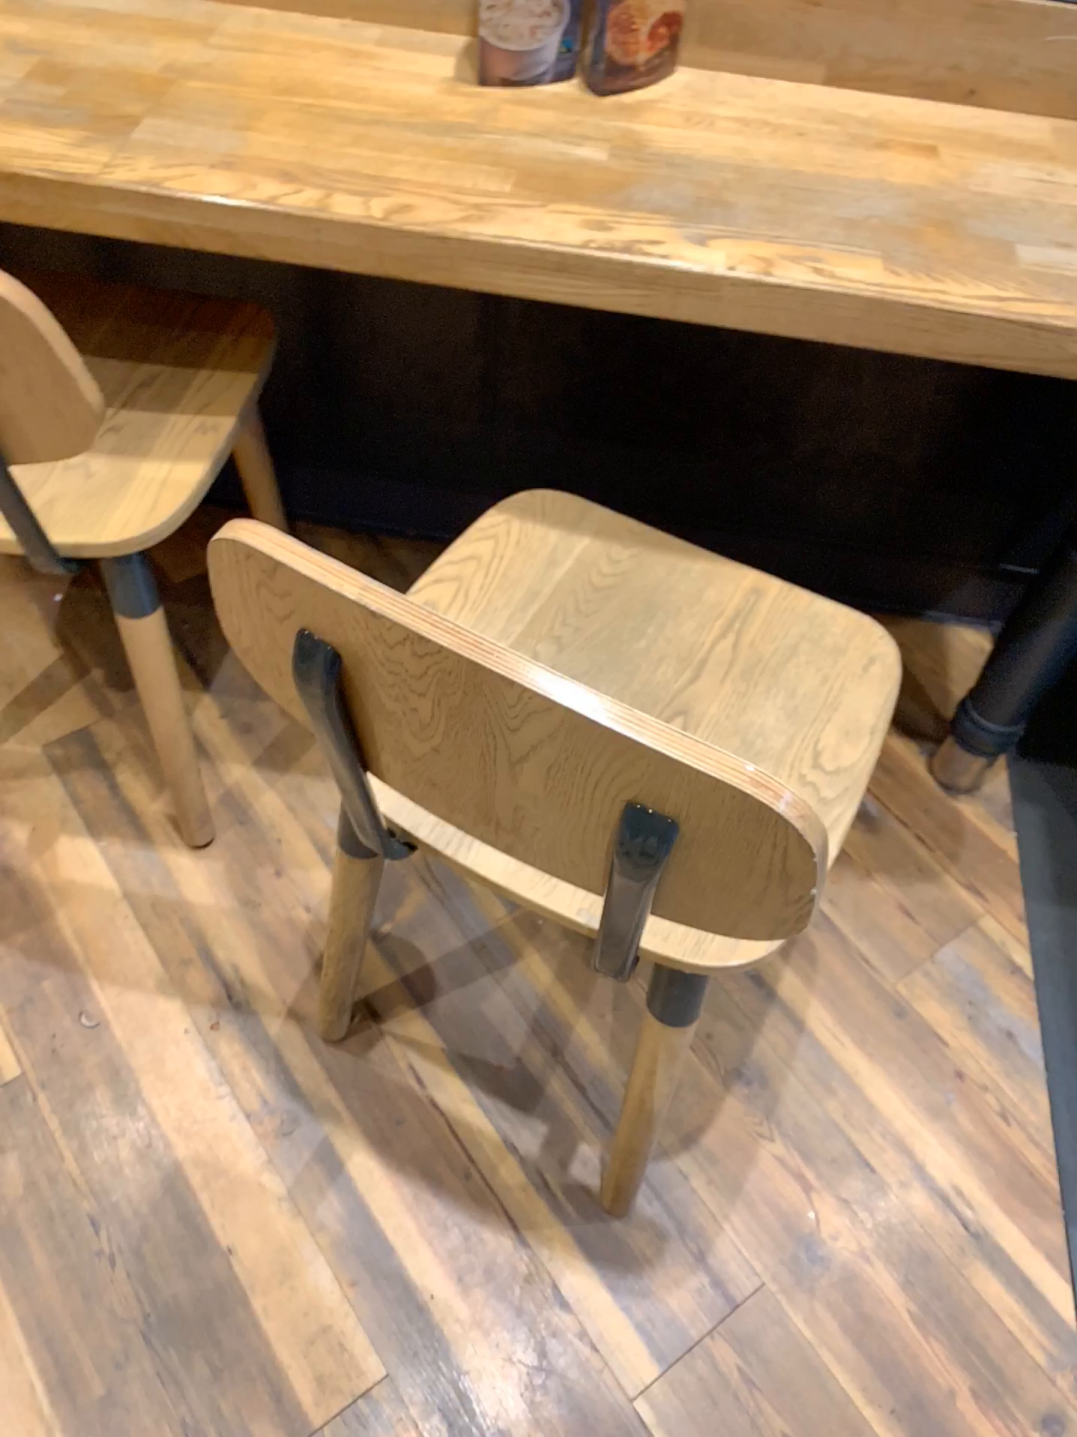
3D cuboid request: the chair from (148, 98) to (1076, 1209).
[{"bbox_3d":[0.078,-0.014,0.930,0.411,0.684,0.503,25,55,14],"label":"chair"}]
